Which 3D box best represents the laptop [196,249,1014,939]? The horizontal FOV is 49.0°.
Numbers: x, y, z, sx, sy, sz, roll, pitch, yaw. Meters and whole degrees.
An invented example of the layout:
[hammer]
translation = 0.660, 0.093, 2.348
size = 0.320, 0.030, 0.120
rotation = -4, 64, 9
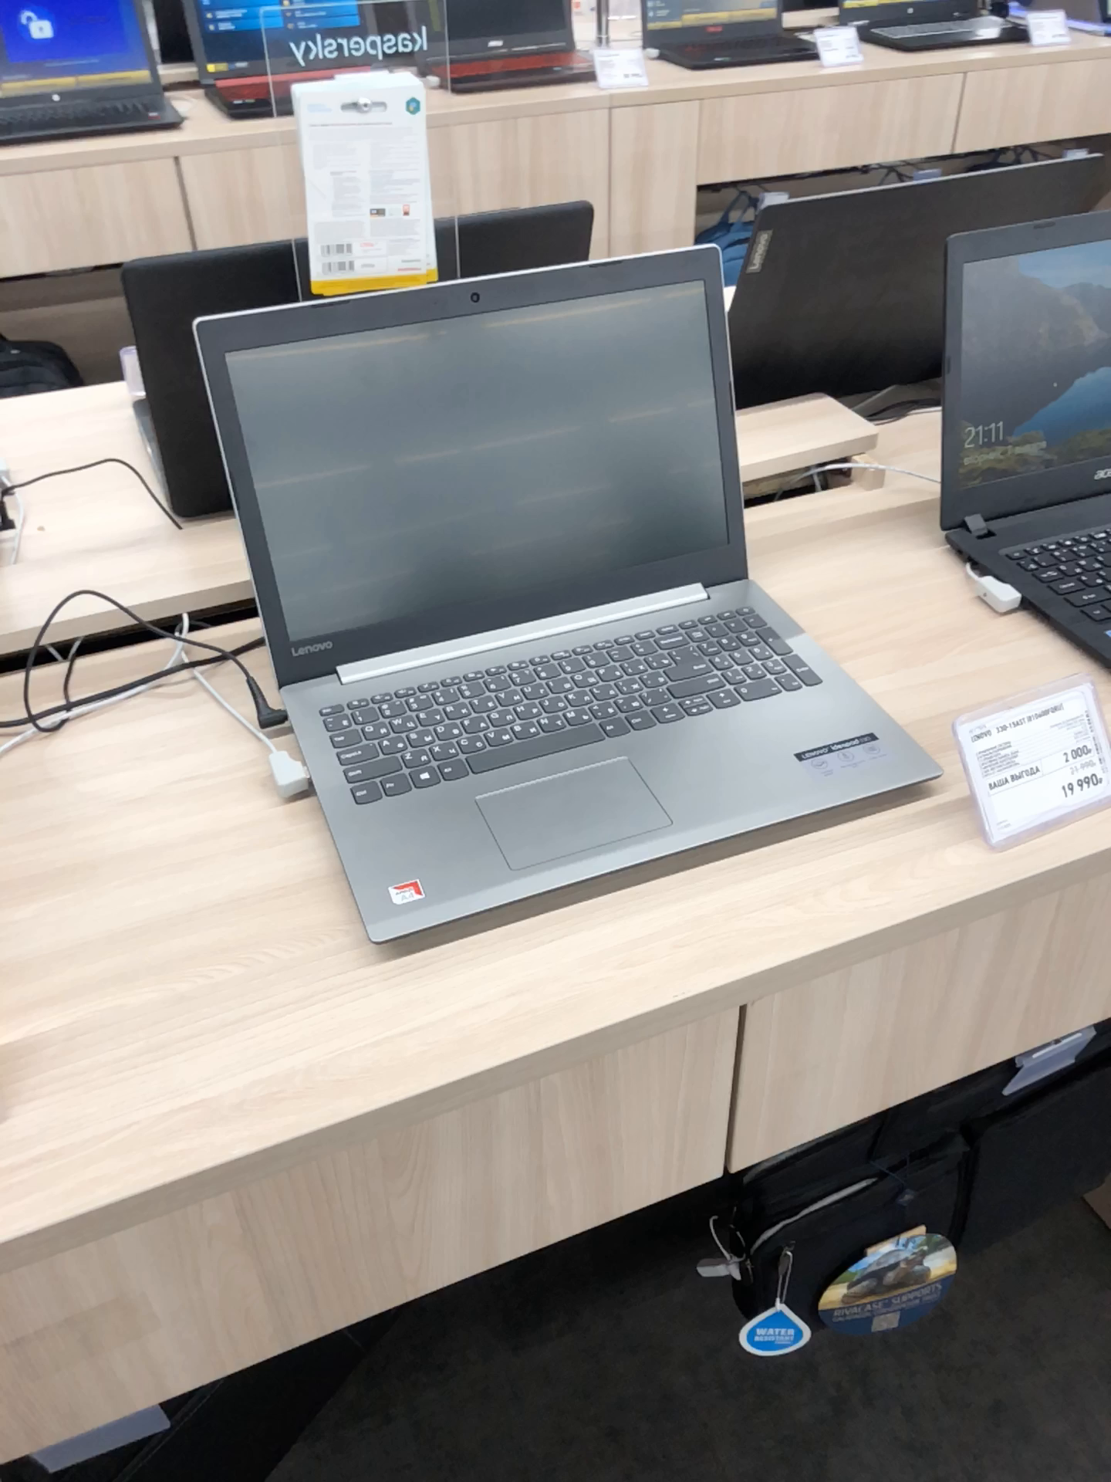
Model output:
[laptop]
translation = 0.008, -0.127, 0.794
size = 0.380, 0.234, 0.345
rotation = -15, 40, -17
